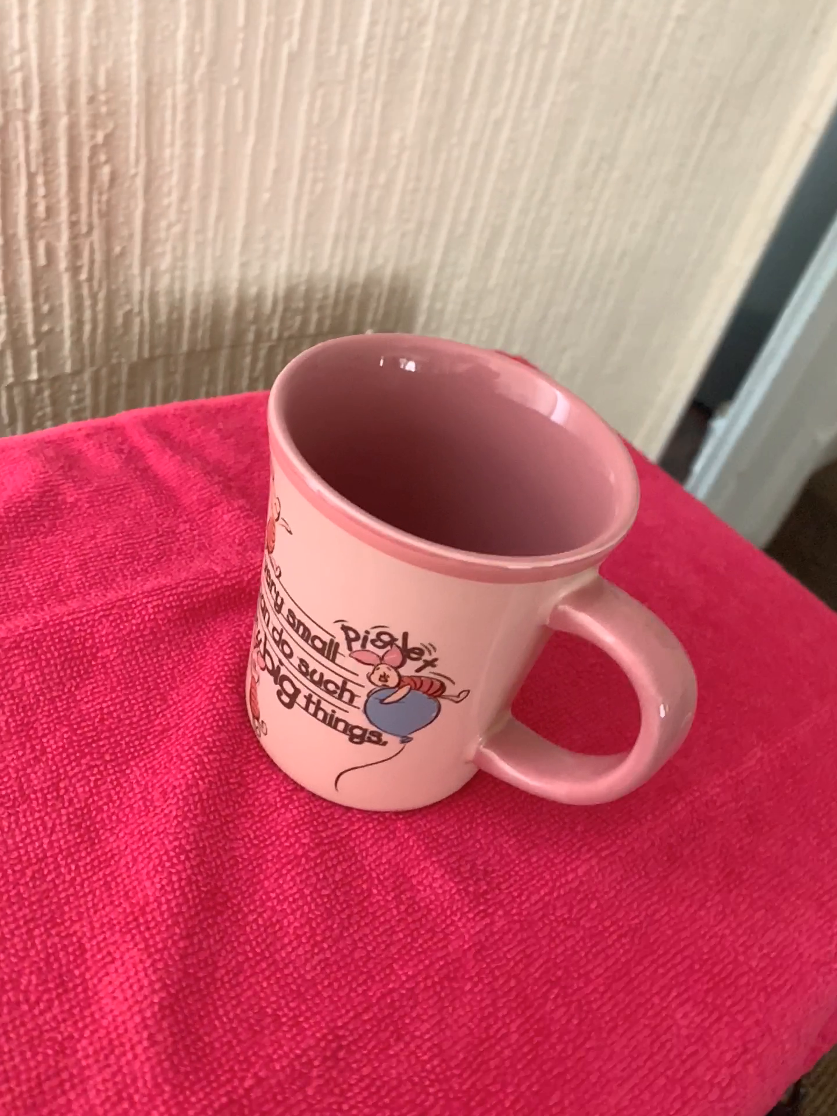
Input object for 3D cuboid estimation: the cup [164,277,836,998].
[{"bbox_3d":[0.009,0.012,0.232,0.090,0.109,0.131,-23,55,-37],"label":"cup"}]
